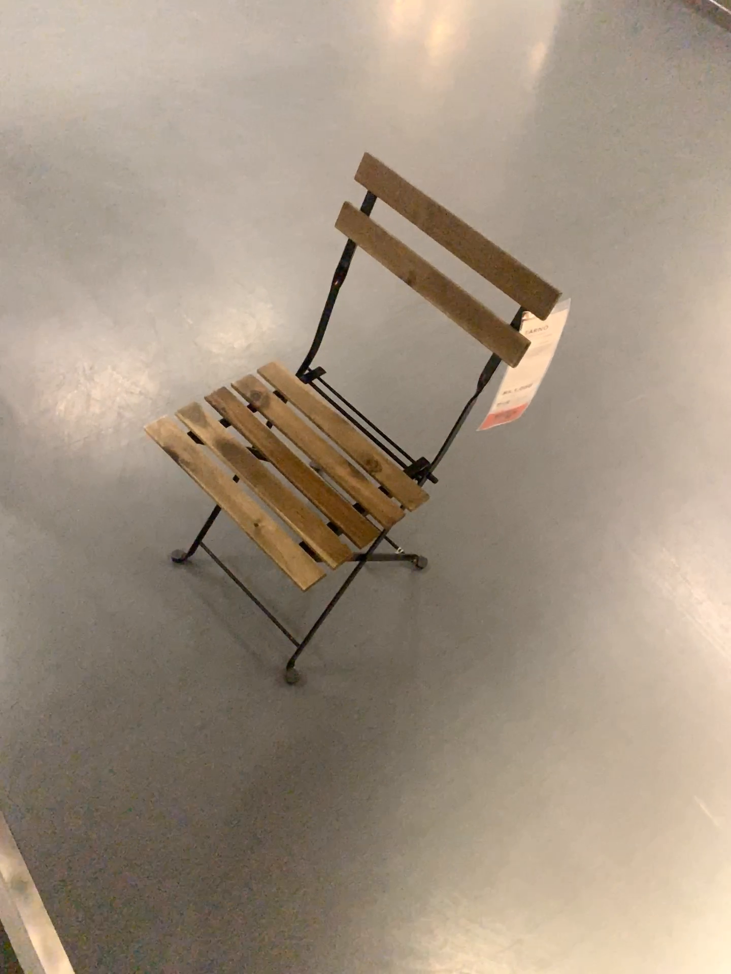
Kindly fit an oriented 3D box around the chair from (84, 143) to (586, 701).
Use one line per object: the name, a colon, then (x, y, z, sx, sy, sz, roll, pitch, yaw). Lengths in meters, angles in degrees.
chair: (-0.068, -0.073, 1.247, 0.501, 0.698, 0.420, -36, 68, -28)
